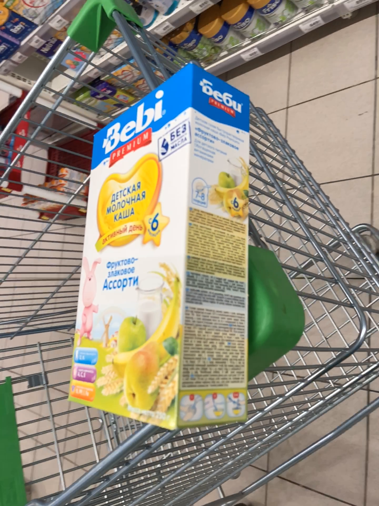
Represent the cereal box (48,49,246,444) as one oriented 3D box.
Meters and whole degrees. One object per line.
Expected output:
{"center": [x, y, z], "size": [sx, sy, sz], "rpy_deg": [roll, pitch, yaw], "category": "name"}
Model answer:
{"center": [-0.034, 0.001, 0.287], "size": [0.151, 0.050, 0.210], "rpy_deg": [-14, 70, 50], "category": "cereal box"}
